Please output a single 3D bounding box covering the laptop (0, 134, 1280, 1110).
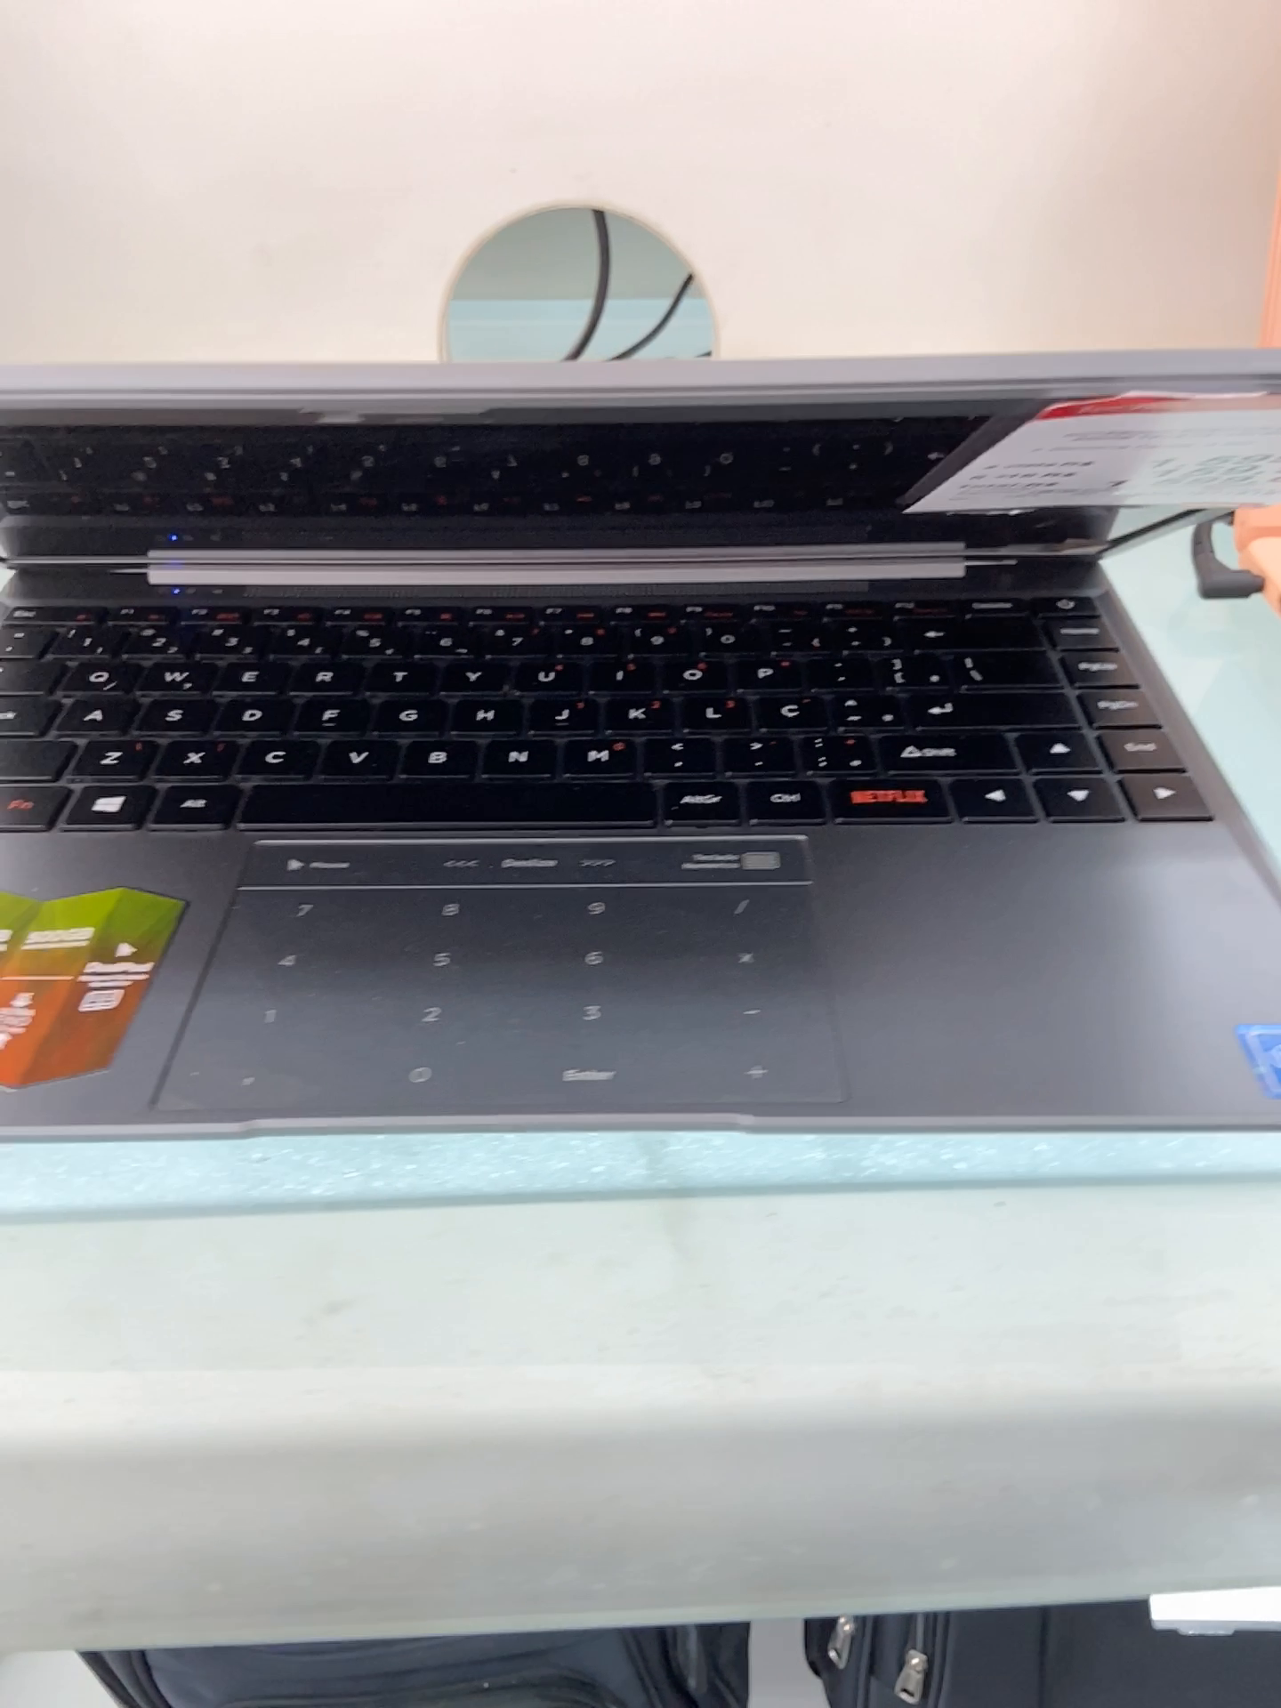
[{"bbox_3d":[-0.024,-0.066,0.283,0.333,0.113,0.212,0,38,1],"label":"laptop"}]
